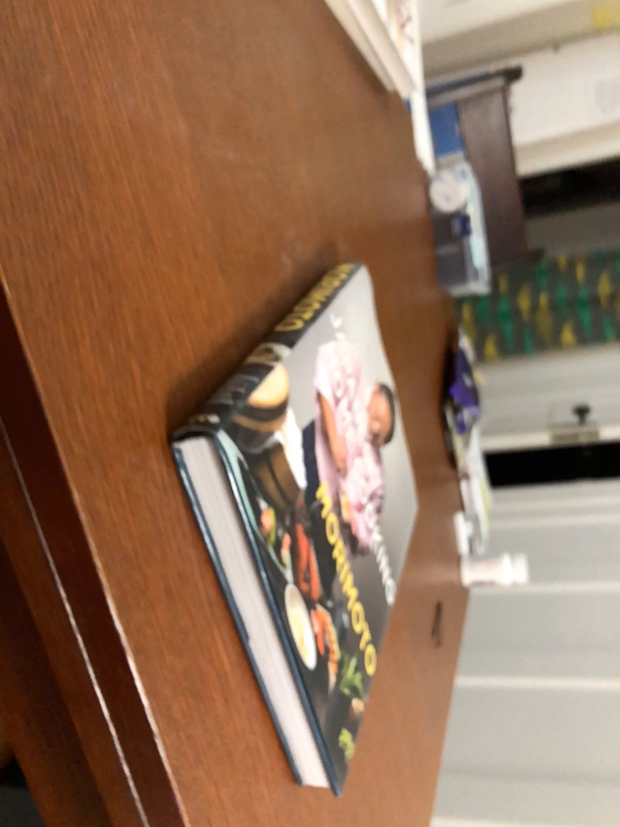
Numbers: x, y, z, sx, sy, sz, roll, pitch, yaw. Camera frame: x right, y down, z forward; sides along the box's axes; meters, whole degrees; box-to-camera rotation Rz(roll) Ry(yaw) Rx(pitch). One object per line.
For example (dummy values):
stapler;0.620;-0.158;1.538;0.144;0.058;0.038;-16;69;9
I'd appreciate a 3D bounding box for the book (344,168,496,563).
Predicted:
book;0.099;-0.036;0.536;0.301;0.030;0.220;-13;96;-69
